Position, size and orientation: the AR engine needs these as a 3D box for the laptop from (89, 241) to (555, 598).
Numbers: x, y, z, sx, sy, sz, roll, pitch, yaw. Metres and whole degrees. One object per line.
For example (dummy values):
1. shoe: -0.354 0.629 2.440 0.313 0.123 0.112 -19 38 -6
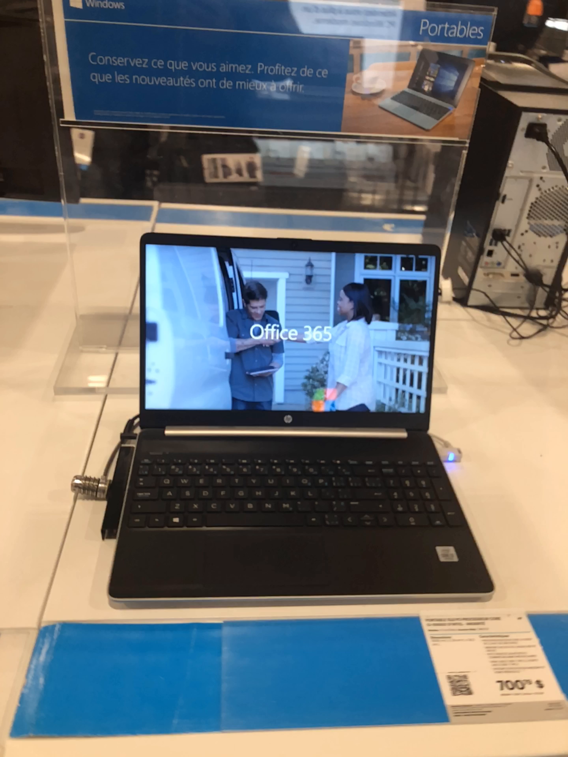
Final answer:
1. laptop: 0.018 0.020 0.653 0.346 0.196 0.335 1 33 -6
